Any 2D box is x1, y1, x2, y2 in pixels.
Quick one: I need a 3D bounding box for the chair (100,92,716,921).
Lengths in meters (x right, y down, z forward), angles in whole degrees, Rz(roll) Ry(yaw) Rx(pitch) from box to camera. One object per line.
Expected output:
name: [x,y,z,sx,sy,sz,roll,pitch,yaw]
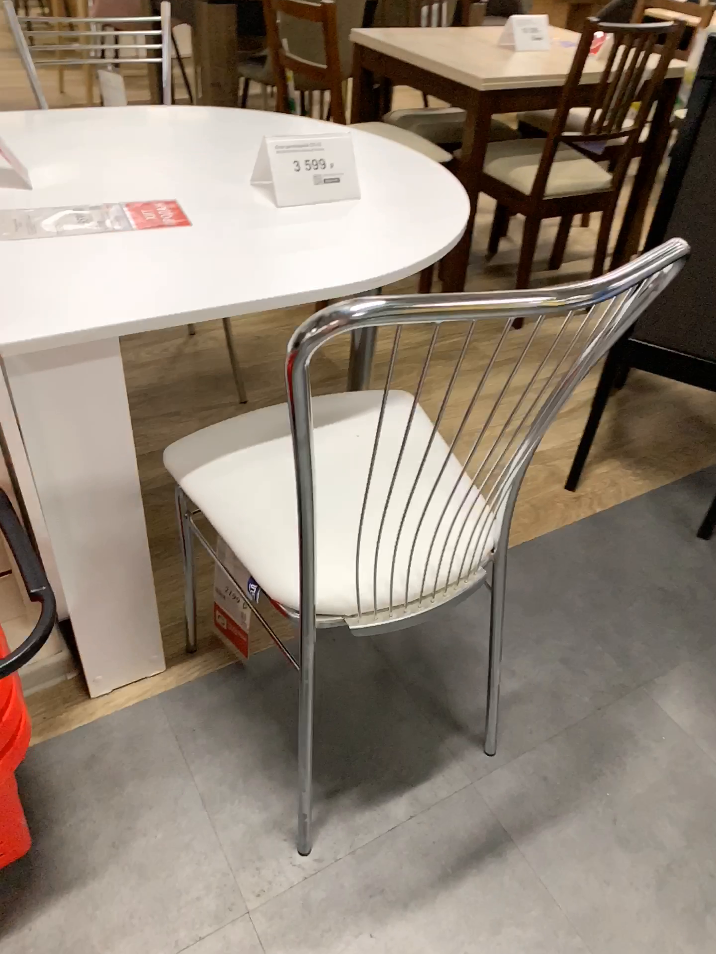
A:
chair: [0.016,0.060,1.041,0.451,0.954,0.552,-18,45,-25]
